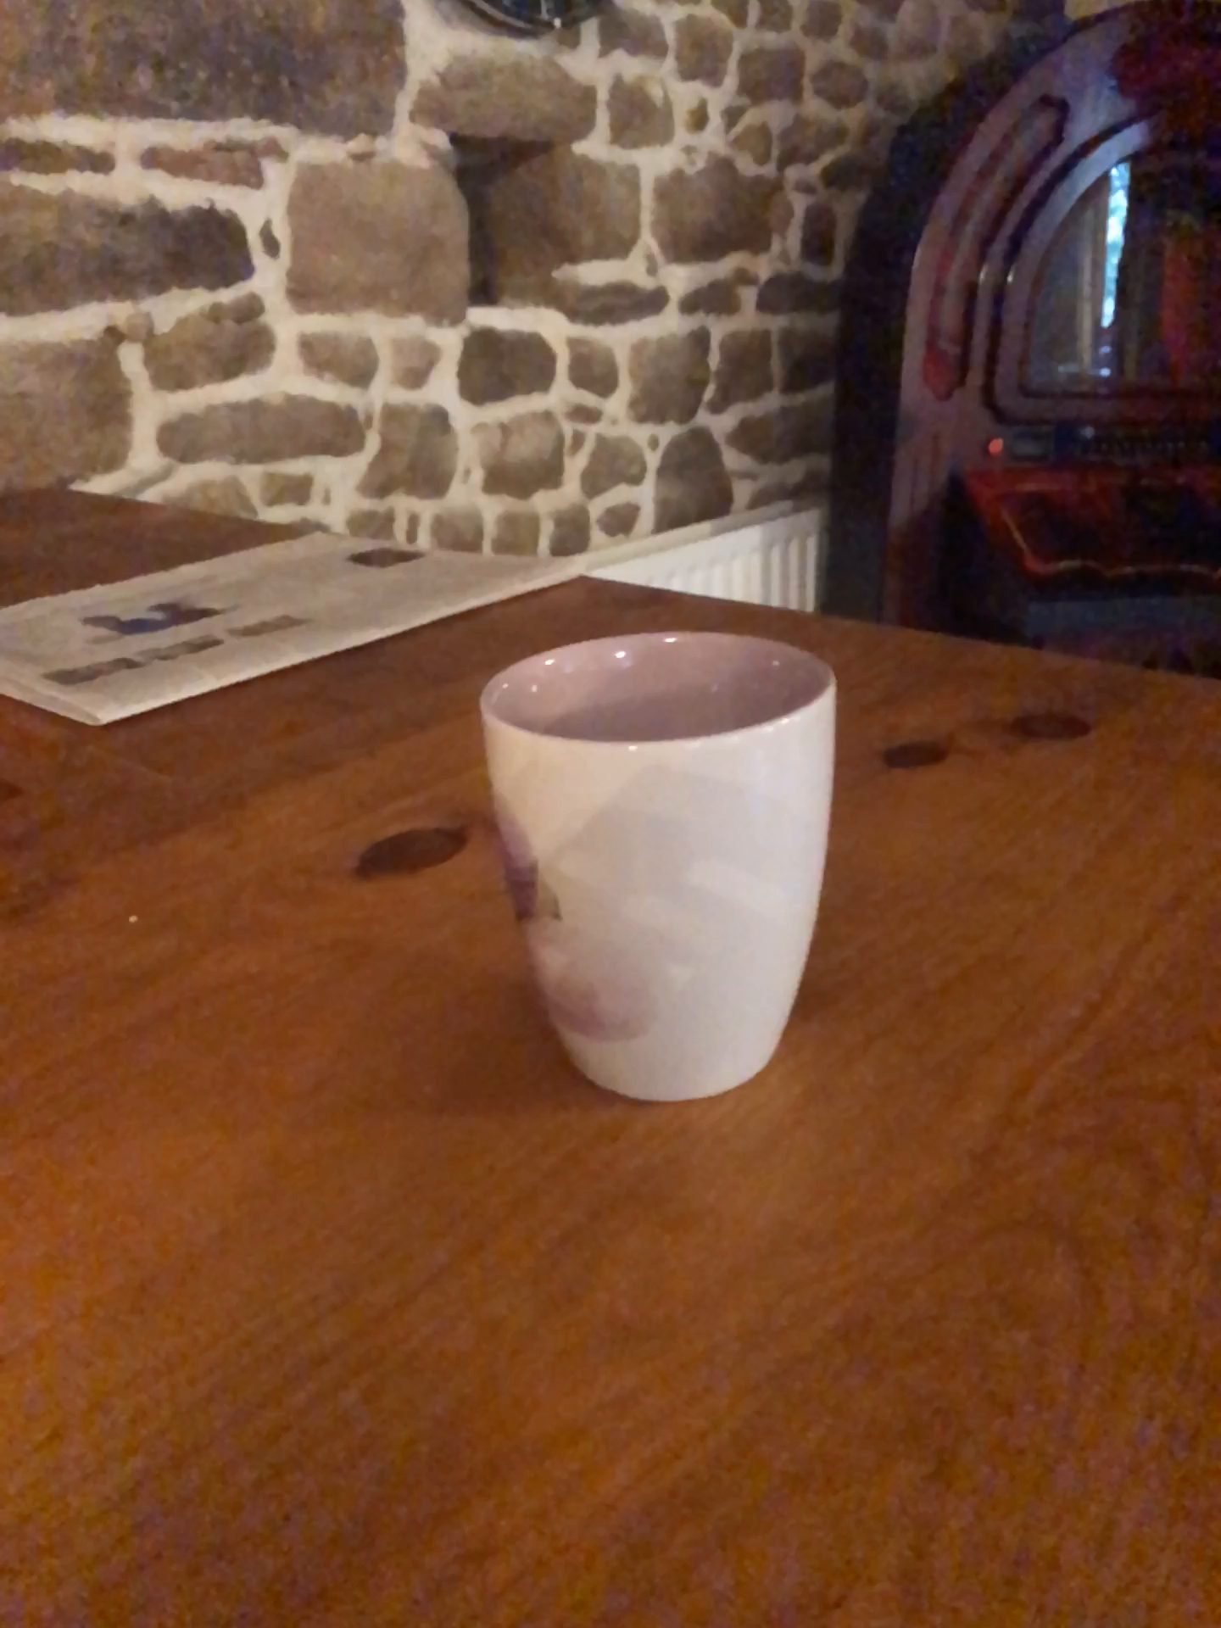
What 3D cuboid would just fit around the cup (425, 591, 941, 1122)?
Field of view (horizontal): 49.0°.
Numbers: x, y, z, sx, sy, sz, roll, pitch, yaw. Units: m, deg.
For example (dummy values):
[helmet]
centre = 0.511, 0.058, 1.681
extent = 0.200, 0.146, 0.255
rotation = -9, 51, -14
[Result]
[cup]
centre = 0.014, 0.002, 0.376
extent = 0.101, 0.095, 0.120
rotation = -9, 23, -17
